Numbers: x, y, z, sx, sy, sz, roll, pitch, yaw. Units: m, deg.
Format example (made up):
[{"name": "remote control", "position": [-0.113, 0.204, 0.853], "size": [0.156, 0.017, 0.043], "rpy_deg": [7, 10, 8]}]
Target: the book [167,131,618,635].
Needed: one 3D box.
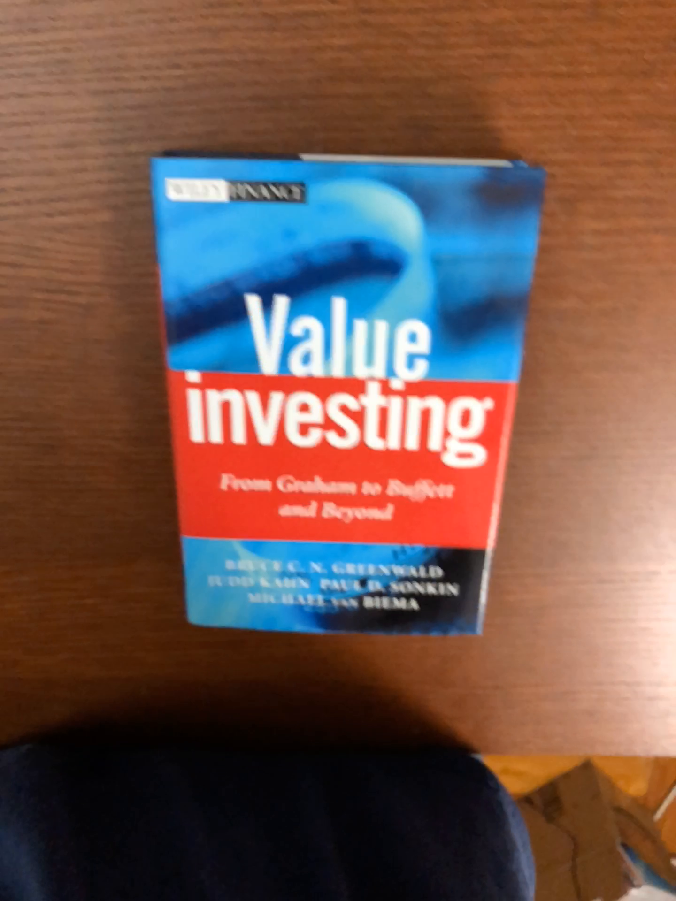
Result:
[{"name": "book", "position": [0.016, -0.017, 0.345], "size": [0.170, 0.020, 0.230], "rpy_deg": [3, 116, 1]}]
